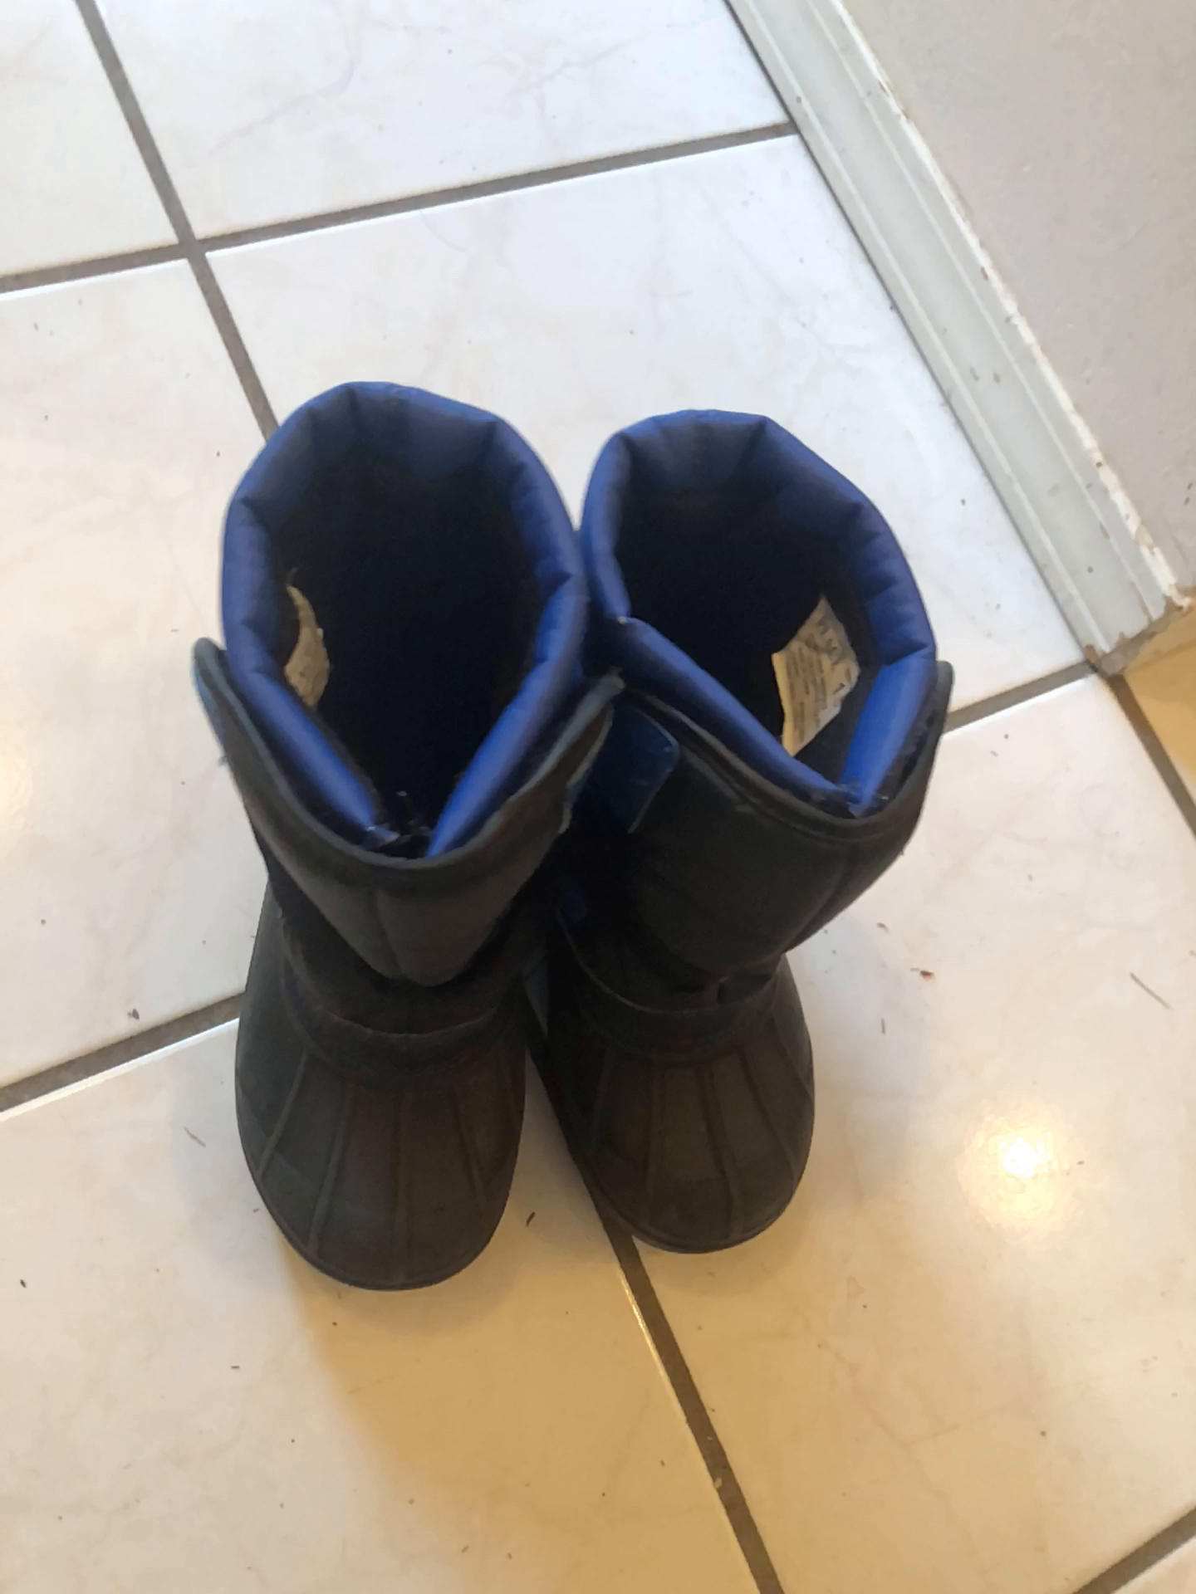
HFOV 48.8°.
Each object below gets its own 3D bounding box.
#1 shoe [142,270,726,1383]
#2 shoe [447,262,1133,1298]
[{"bbox_3d":[-0.059,0.020,0.364,0.100,0.199,0.230,-3,72,-14],"label":"shoe"},{"bbox_3d":[0.028,0.009,0.404,0.100,0.199,0.250,-5,73,-14],"label":"shoe"}]
